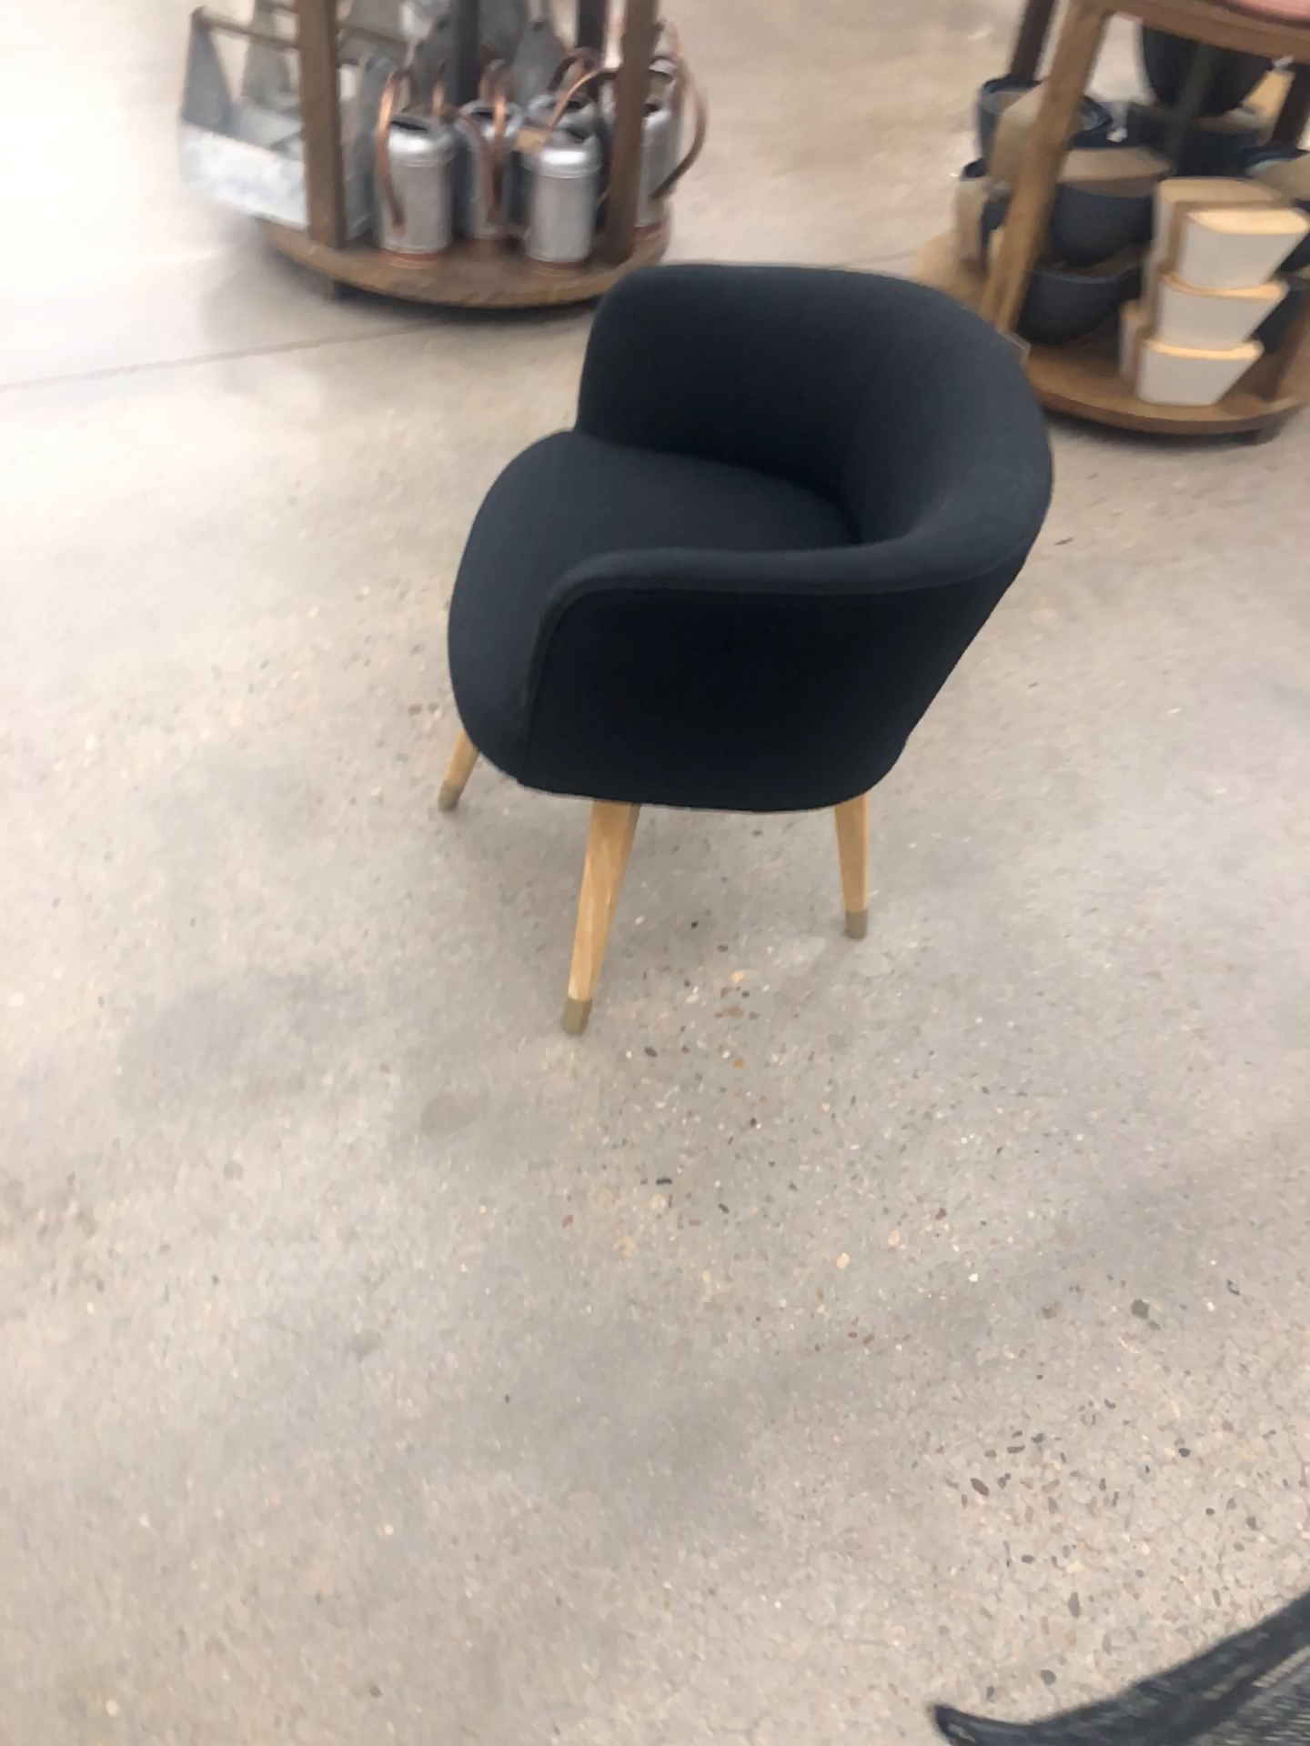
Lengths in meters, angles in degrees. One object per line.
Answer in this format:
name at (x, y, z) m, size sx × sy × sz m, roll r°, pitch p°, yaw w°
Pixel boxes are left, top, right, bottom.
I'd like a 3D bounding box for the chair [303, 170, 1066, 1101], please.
chair at (0.038, -0.253, 1.559) m, size 0.603 × 0.670 × 0.605 m, roll 12°, pitch 46°, yaw 3°
